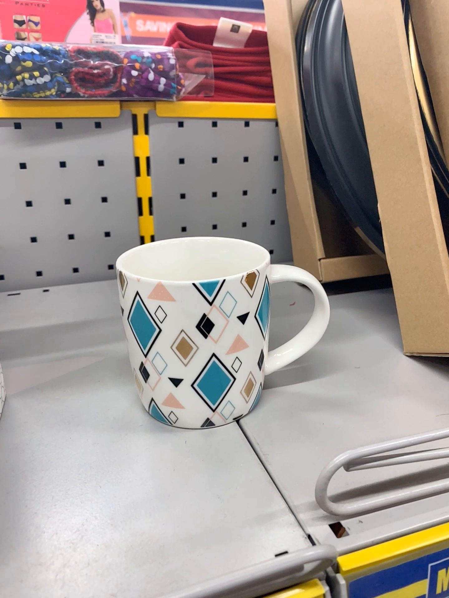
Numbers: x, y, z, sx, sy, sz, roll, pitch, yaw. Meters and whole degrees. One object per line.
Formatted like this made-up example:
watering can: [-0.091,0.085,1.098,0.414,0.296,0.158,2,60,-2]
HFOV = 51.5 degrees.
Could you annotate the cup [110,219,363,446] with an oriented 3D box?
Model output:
cup: [-0.002,0.010,0.276,0.120,0.090,0.100,-4,22,-12]
